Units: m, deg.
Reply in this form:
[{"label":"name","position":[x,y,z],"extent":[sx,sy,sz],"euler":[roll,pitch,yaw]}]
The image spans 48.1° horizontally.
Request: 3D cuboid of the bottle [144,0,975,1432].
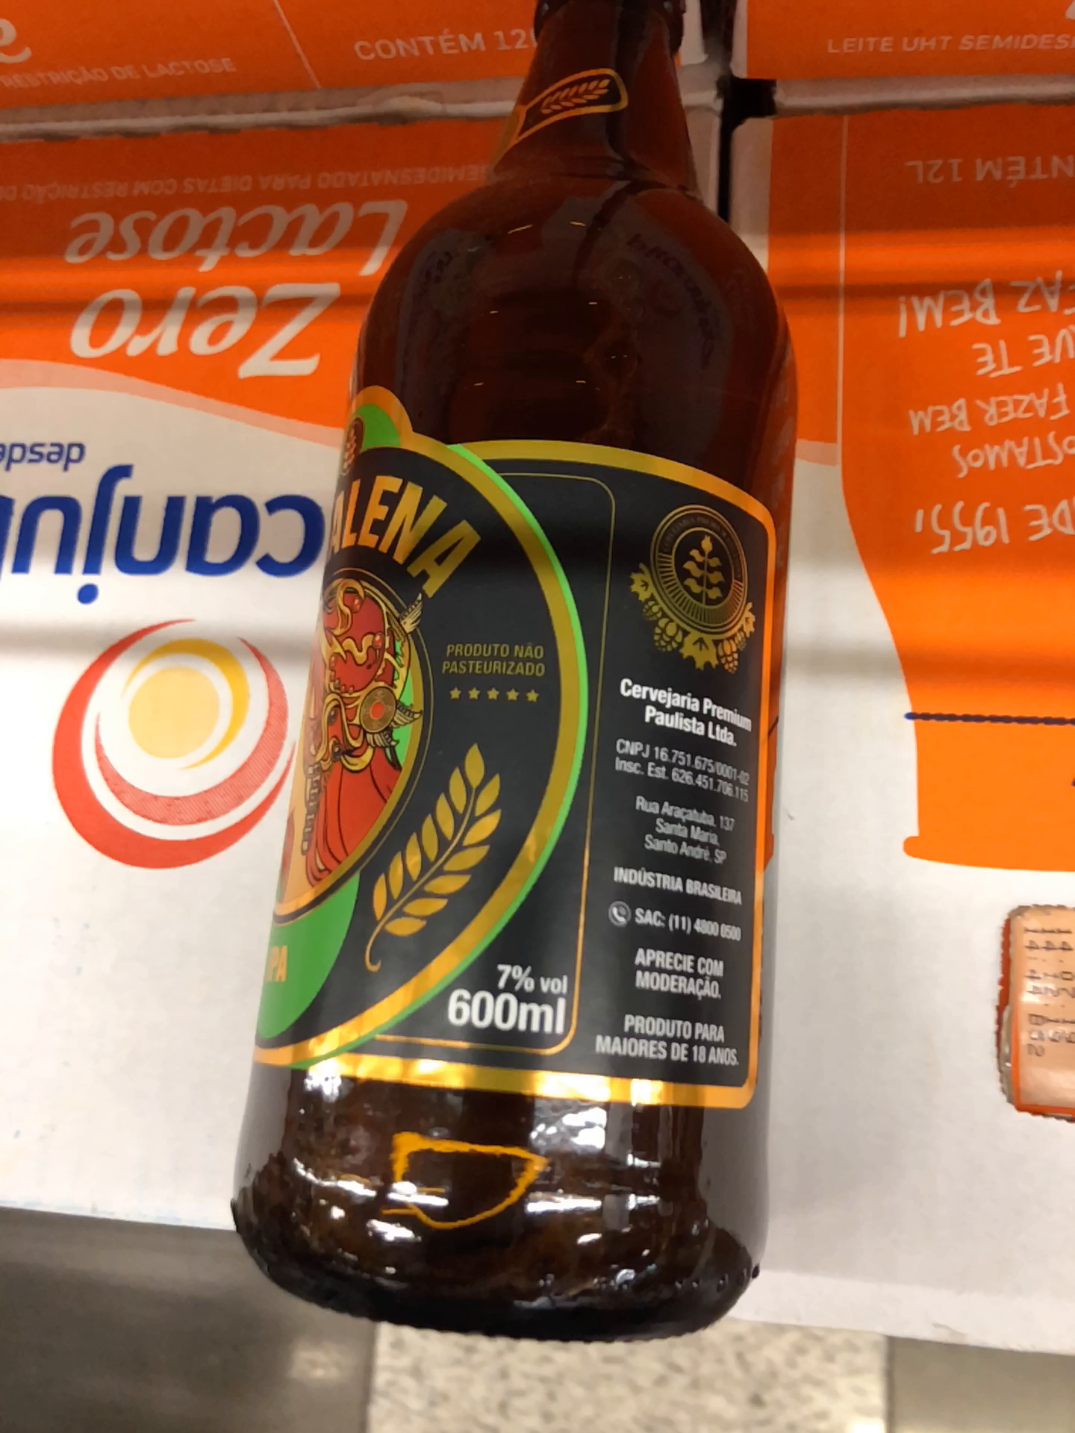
[{"label":"bottle","position":[0.015,-0.048,0.207],"extent":[0.100,0.060,0.280],"euler":[2,75,10]}]
